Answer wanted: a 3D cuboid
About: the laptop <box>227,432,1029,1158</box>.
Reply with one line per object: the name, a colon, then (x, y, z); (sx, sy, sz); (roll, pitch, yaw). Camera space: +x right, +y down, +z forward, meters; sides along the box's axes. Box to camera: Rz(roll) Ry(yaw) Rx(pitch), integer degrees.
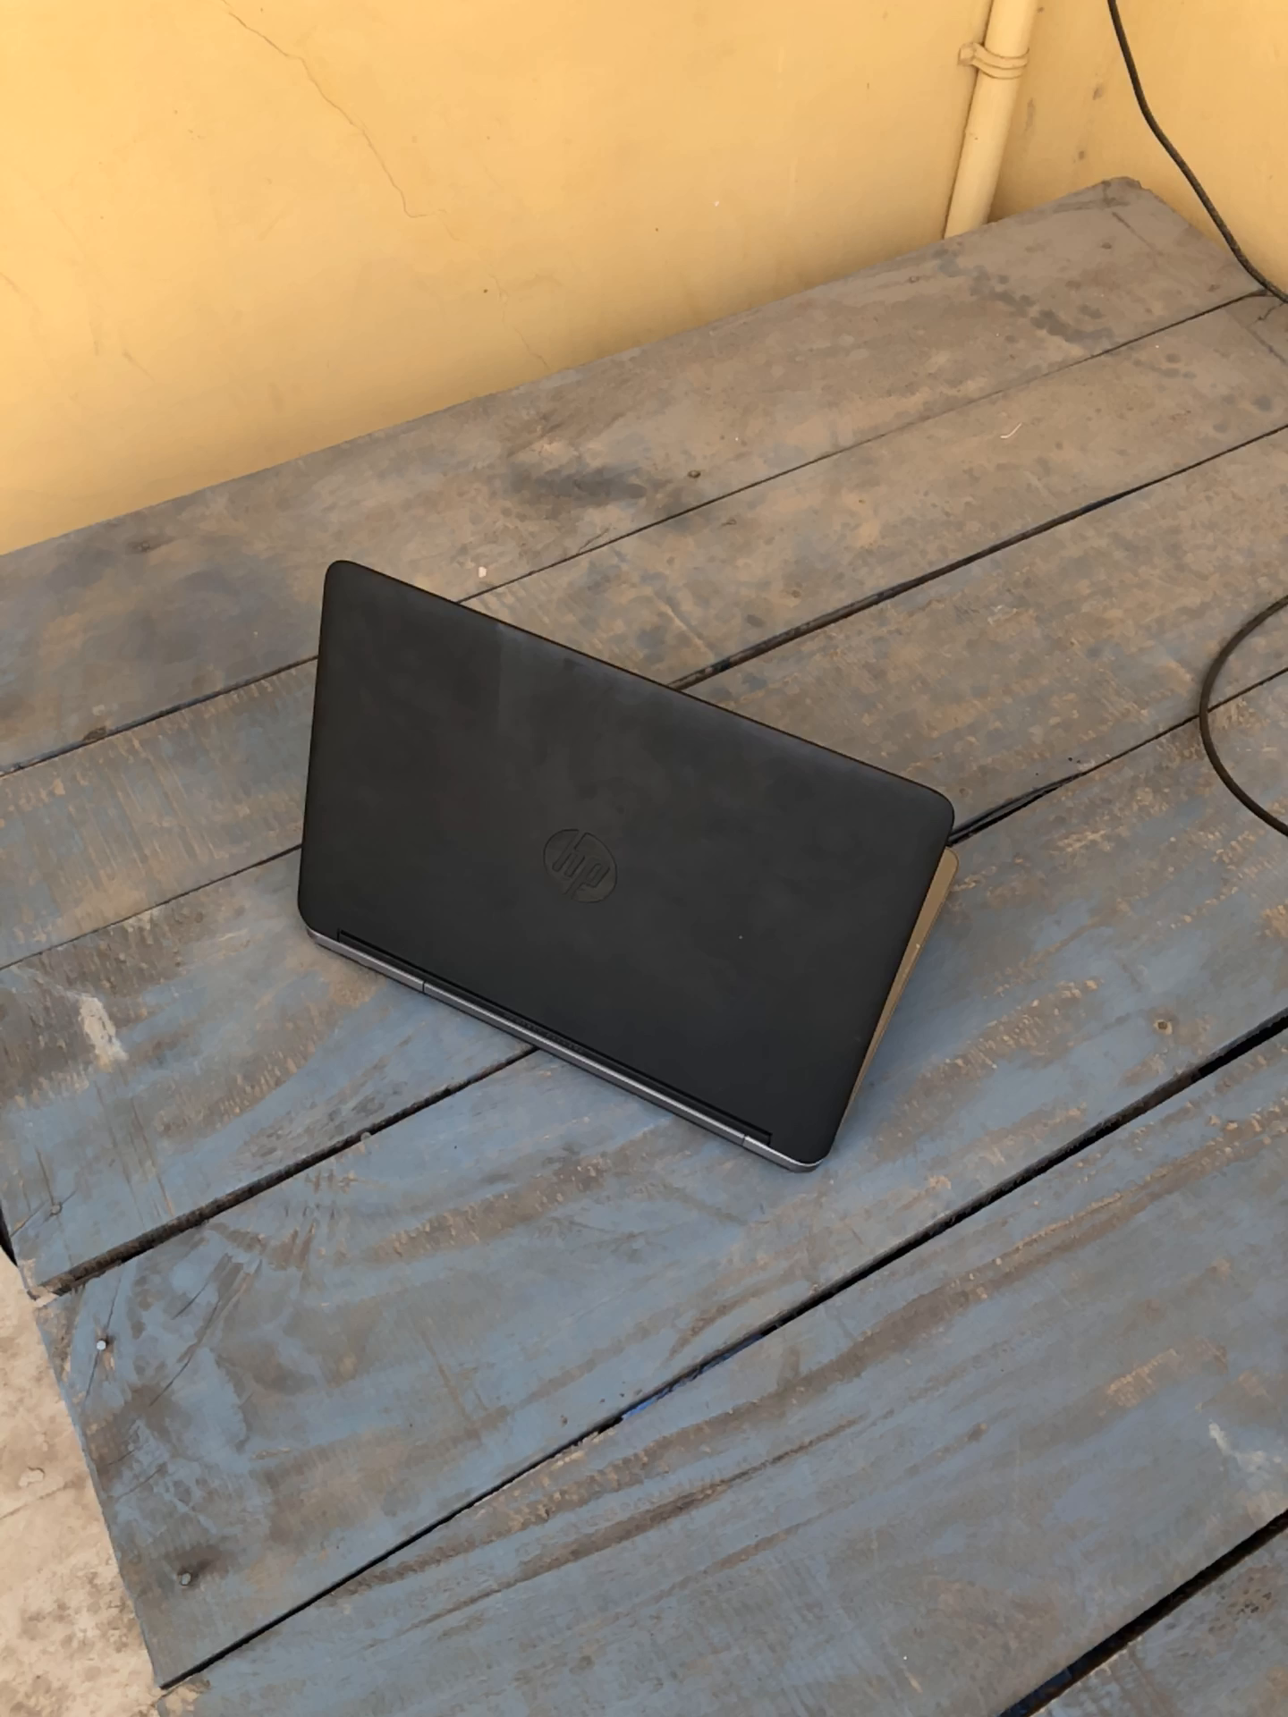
laptop: (-0.004, -0.038, 0.749); (0.316, 0.196, 0.211); (23, 57, 15)
